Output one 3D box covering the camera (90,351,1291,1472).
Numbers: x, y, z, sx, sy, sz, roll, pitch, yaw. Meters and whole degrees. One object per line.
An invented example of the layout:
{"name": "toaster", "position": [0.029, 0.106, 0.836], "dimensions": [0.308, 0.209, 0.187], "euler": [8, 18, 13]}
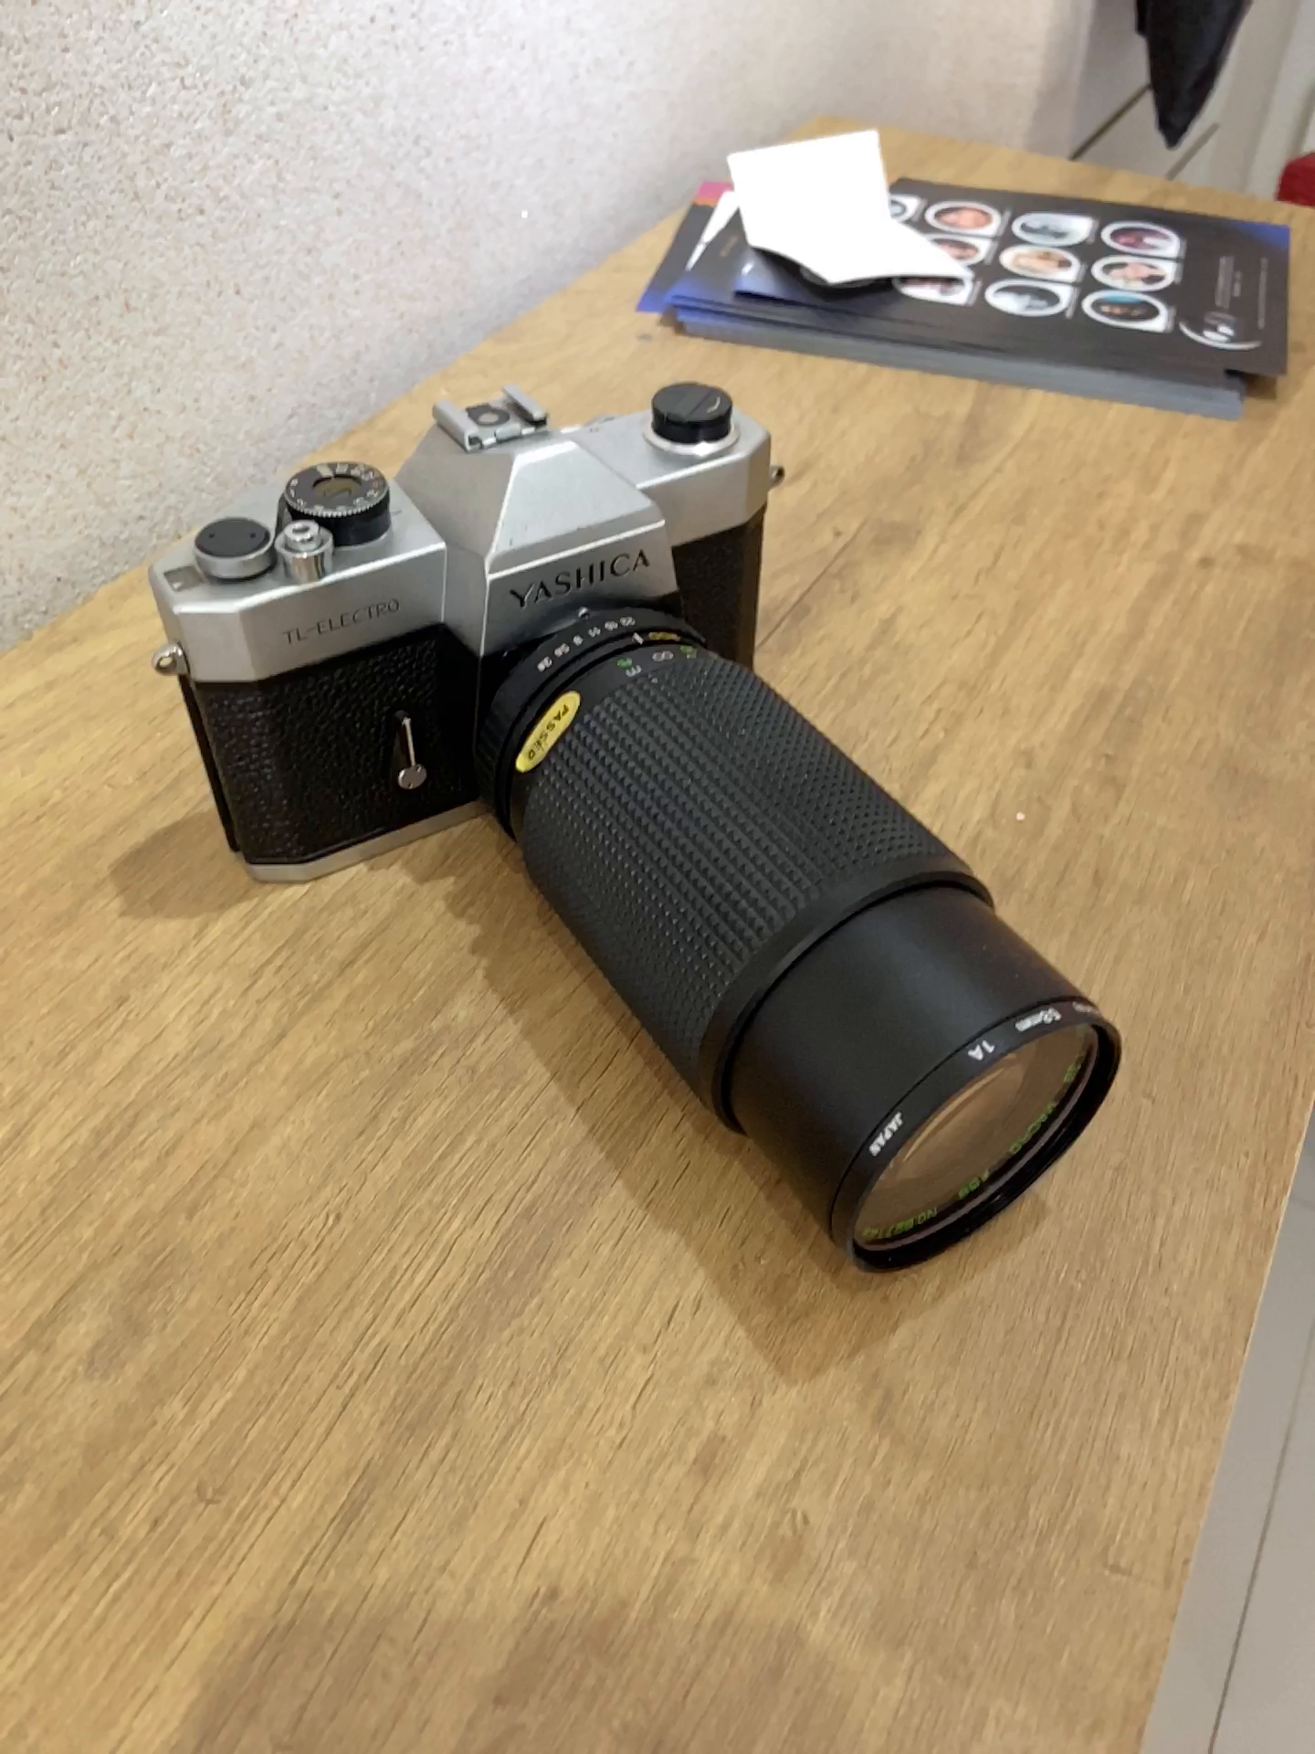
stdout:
{"name": "camera", "position": [-0.011, -0.017, 0.285], "dimensions": [0.150, 0.080, 0.201], "euler": [-20, 48, -19]}
